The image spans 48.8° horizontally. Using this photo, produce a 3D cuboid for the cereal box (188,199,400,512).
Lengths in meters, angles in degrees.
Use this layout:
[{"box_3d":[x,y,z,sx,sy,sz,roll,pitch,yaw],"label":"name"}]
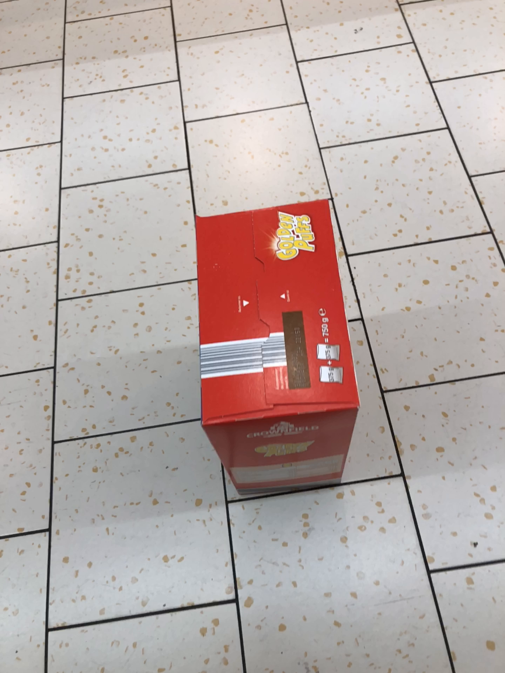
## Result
[{"box_3d":[0.033,0.037,0.533,0.140,0.249,0.201,-6,63,2],"label":"cereal box"}]
